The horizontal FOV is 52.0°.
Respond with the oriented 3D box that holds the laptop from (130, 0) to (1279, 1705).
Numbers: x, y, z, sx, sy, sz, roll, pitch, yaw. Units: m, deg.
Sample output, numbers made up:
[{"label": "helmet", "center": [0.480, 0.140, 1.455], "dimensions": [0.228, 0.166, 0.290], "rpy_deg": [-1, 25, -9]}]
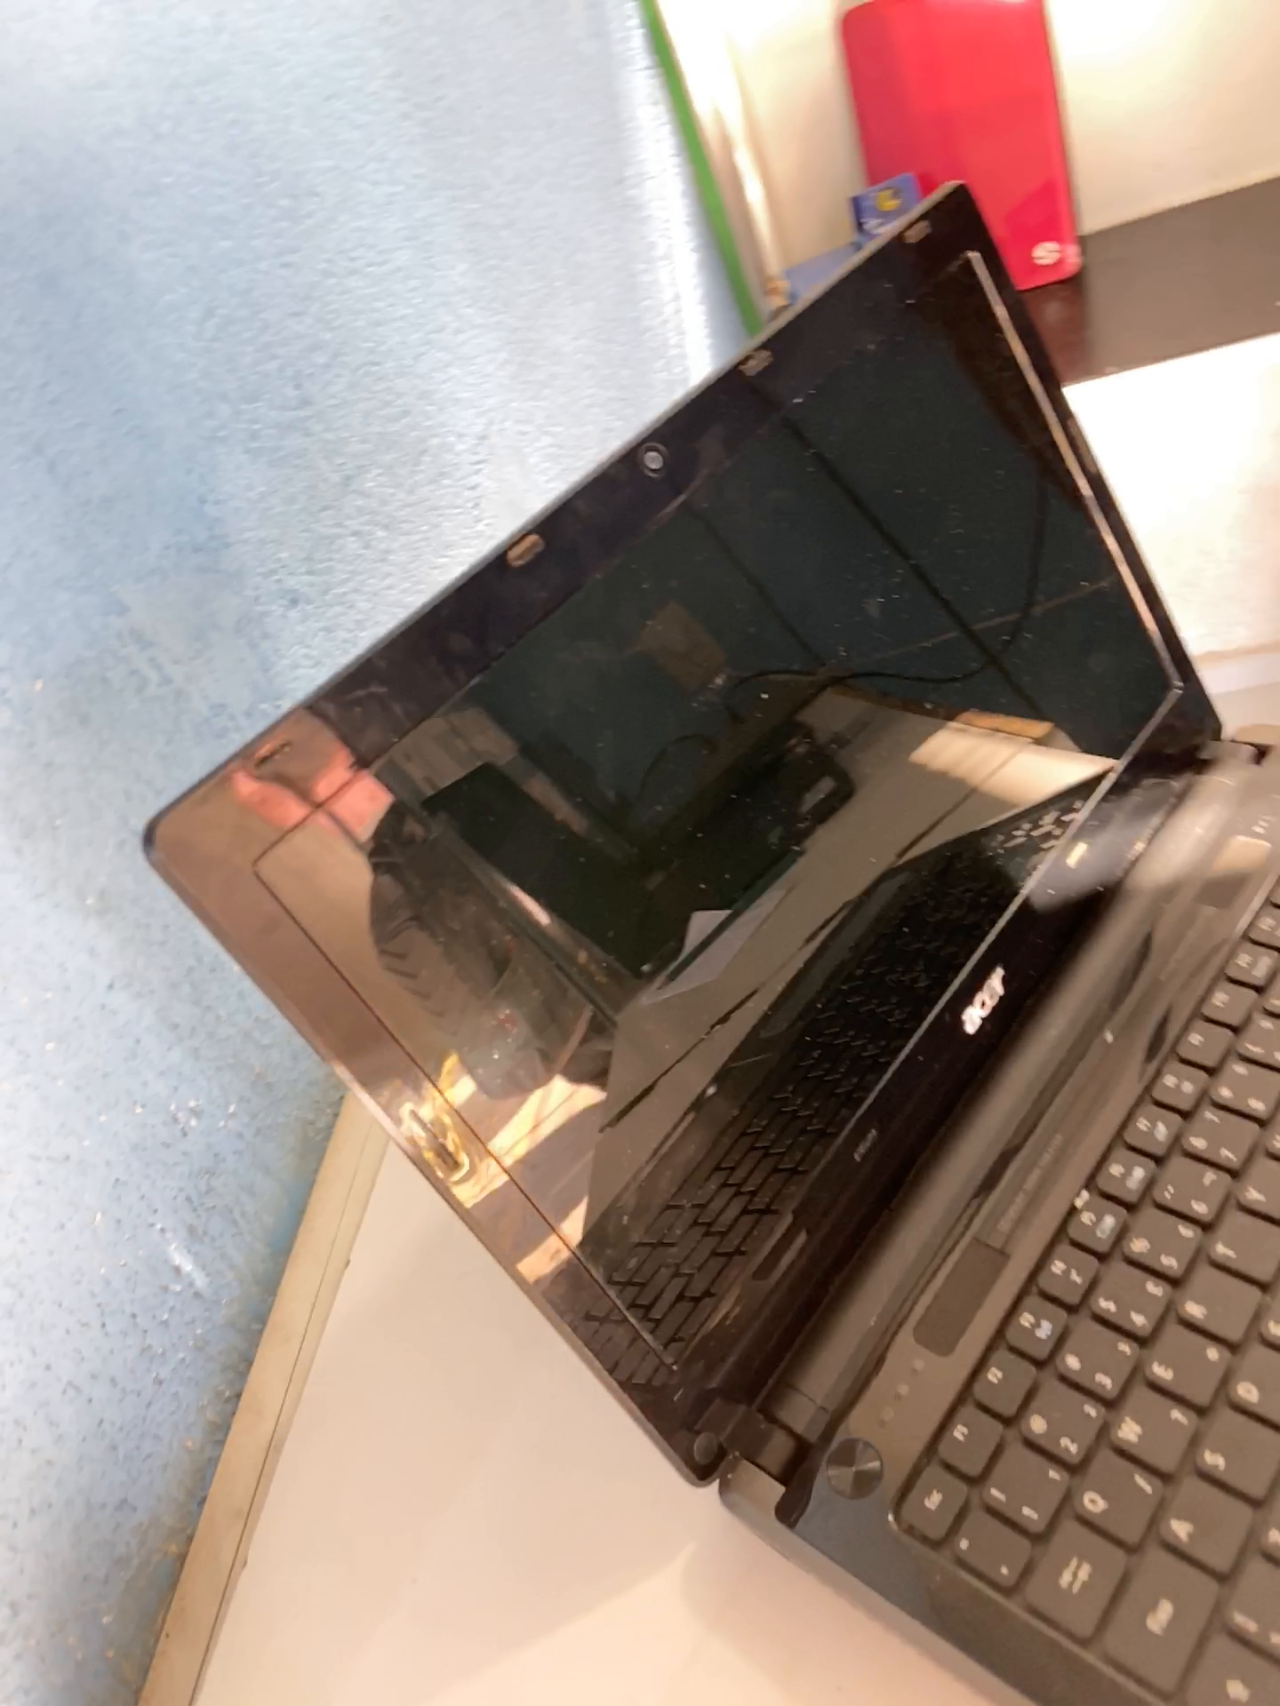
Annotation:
[{"label": "laptop", "center": [0.145, -0.001, 0.308], "dimensions": [0.319, 0.207, 0.337], "rpy_deg": [17, 53, 42]}]
